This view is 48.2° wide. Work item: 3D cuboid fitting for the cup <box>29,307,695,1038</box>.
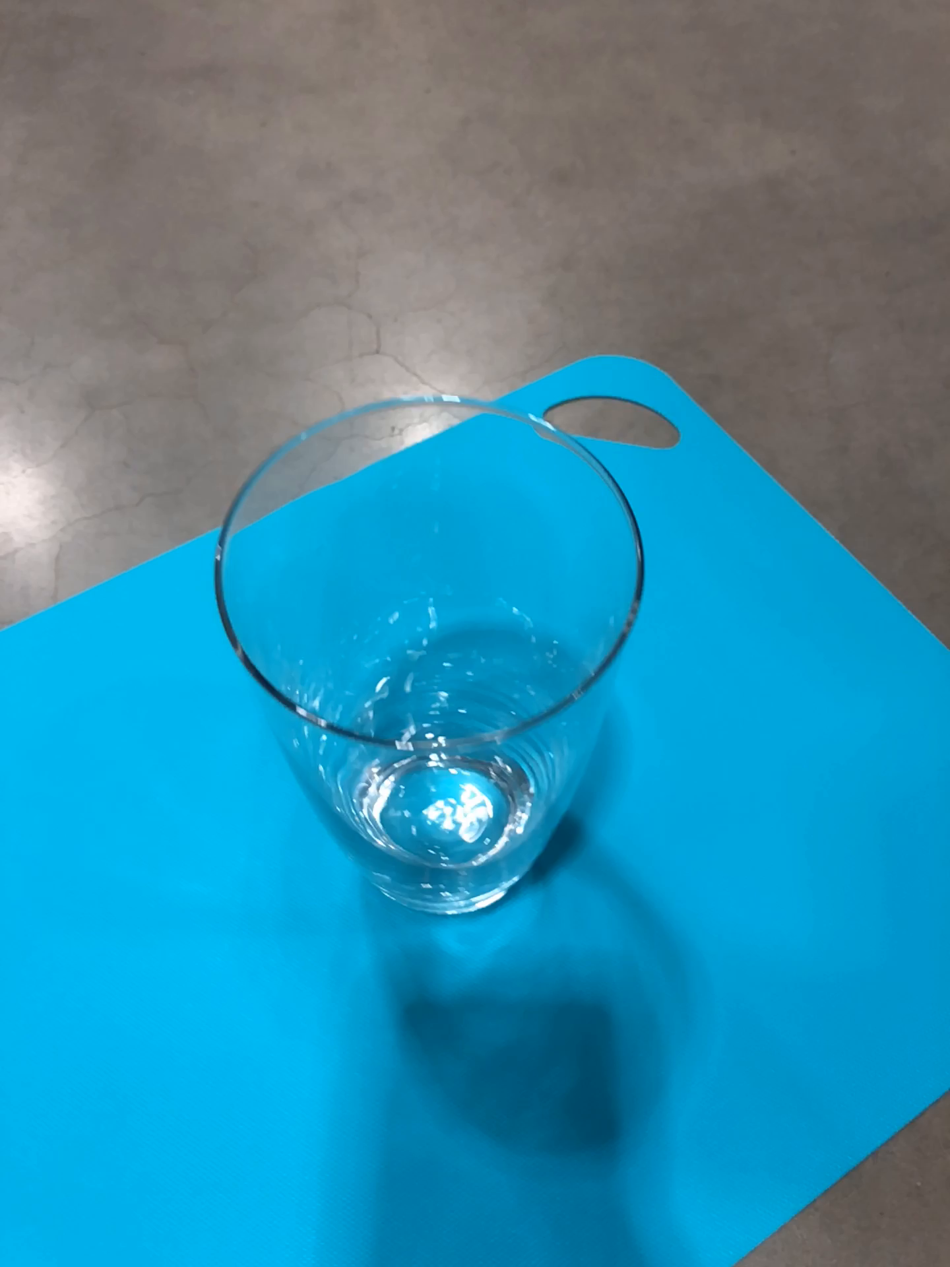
[{"bbox_3d":[-0.020,0.021,0.286,0.100,0.160,0.100,0,58,0],"label":"cup"}]
